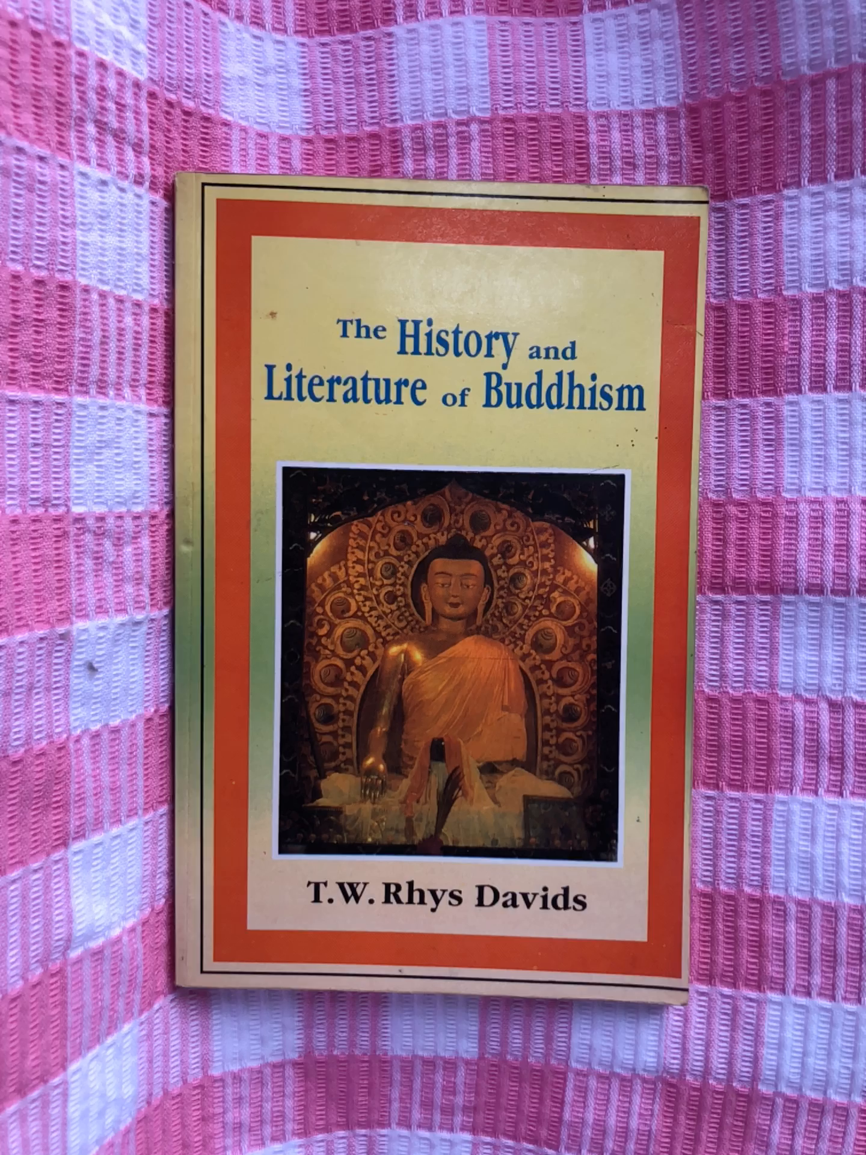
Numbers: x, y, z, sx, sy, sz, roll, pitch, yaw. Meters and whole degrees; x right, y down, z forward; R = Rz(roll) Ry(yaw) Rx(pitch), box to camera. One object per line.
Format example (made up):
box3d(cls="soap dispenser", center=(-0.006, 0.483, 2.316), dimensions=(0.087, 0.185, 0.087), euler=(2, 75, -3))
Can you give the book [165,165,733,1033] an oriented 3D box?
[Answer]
box3d(cls="book", center=(0.002, 0.007, 0.259), dimensions=(0.020, 0.140, 0.220), euler=(-52, 144, -86))
